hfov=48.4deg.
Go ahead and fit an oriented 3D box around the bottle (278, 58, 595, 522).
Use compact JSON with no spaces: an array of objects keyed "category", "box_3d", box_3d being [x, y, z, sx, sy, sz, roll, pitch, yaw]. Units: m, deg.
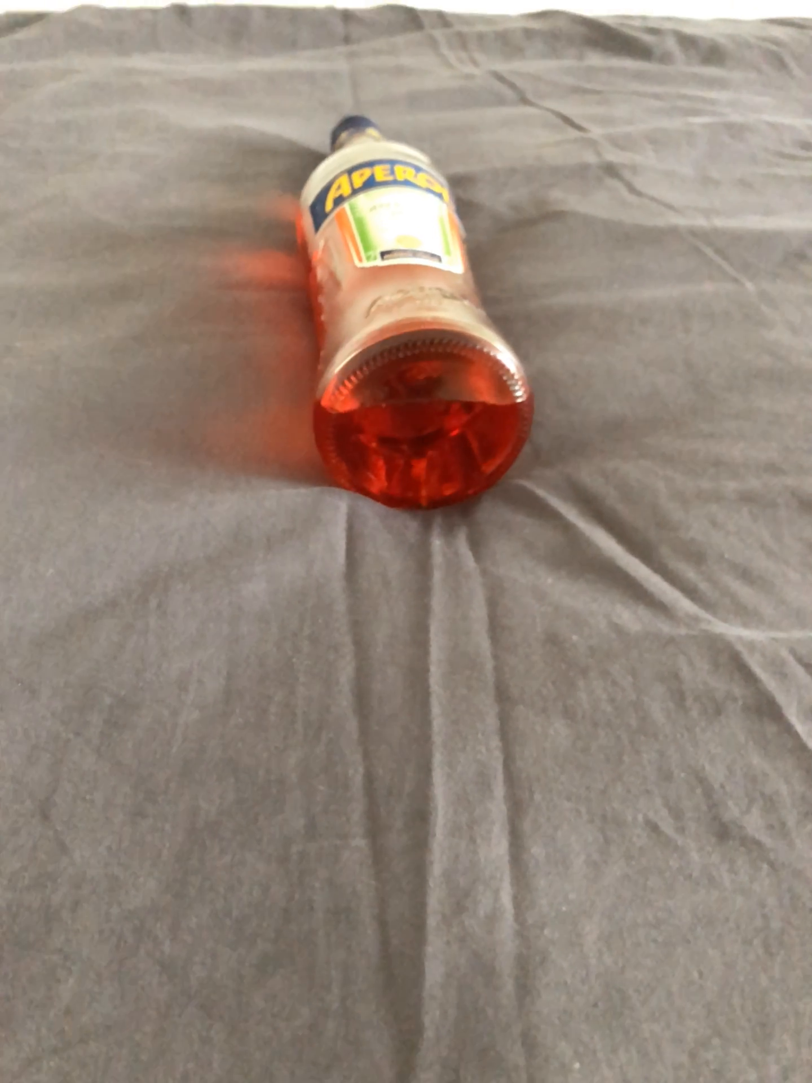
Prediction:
[{"category":"bottle","box_3d":[-0.007,-0.143,0.423,0.100,0.070,0.322,-3,42,-6]}]
